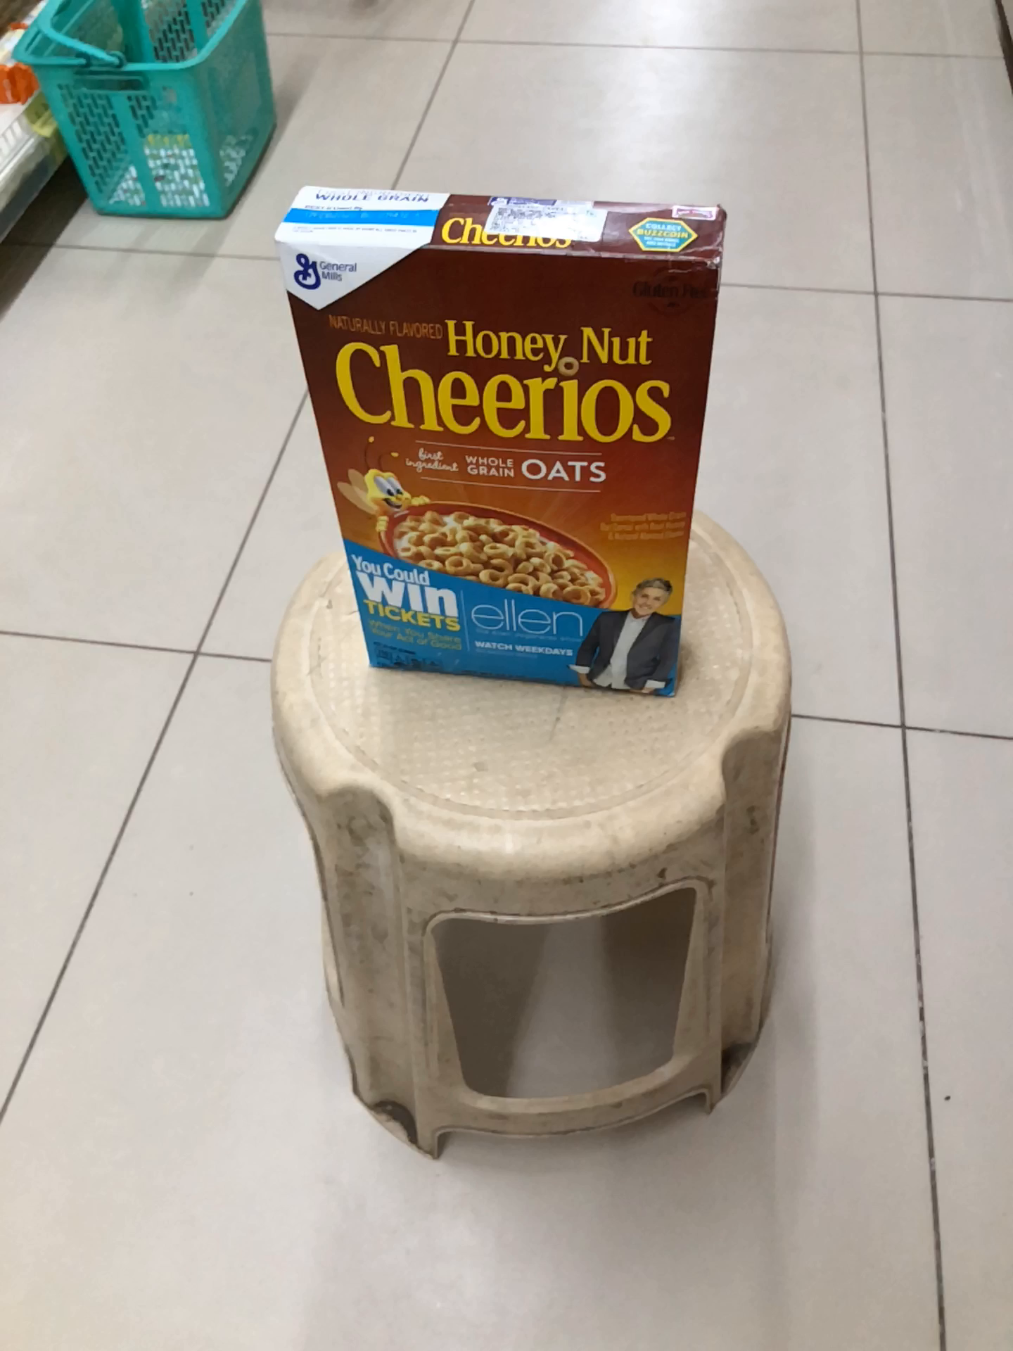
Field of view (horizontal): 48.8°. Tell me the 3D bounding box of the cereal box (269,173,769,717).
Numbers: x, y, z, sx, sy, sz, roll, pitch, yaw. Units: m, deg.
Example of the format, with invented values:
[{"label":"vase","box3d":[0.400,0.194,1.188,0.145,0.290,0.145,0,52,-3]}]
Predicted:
[{"label":"cereal box","box3d":[0.011,-0.093,0.547,0.190,0.278,0.050,7,53,8]}]
